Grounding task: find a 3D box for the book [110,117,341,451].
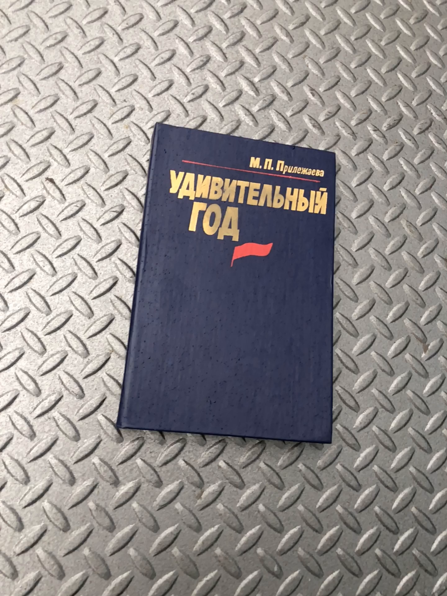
[{"bbox_3d":[0.005,-0.009,0.329,0.130,0.040,0.200,7,77,-8],"label":"book"}]
